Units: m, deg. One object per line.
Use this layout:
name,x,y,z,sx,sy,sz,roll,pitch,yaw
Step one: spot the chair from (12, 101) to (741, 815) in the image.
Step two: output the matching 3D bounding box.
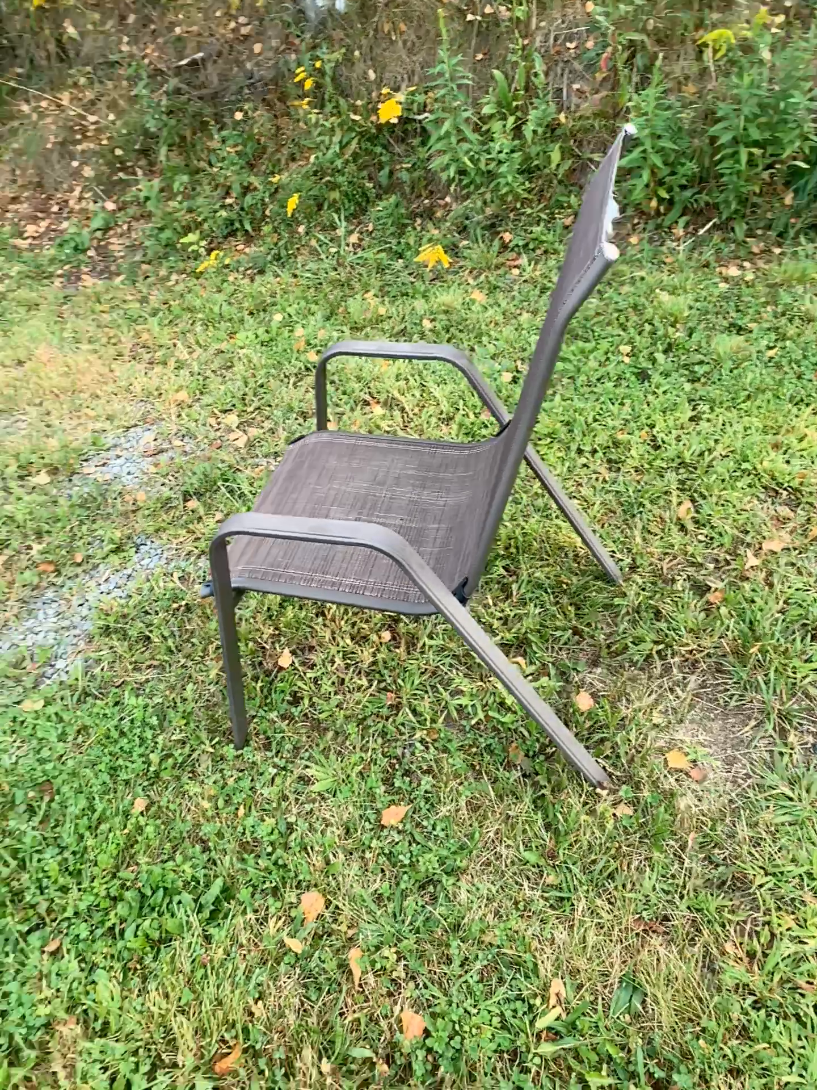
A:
chair,0.024,-0.147,1.332,0.740,0.875,0.623,6,41,11
